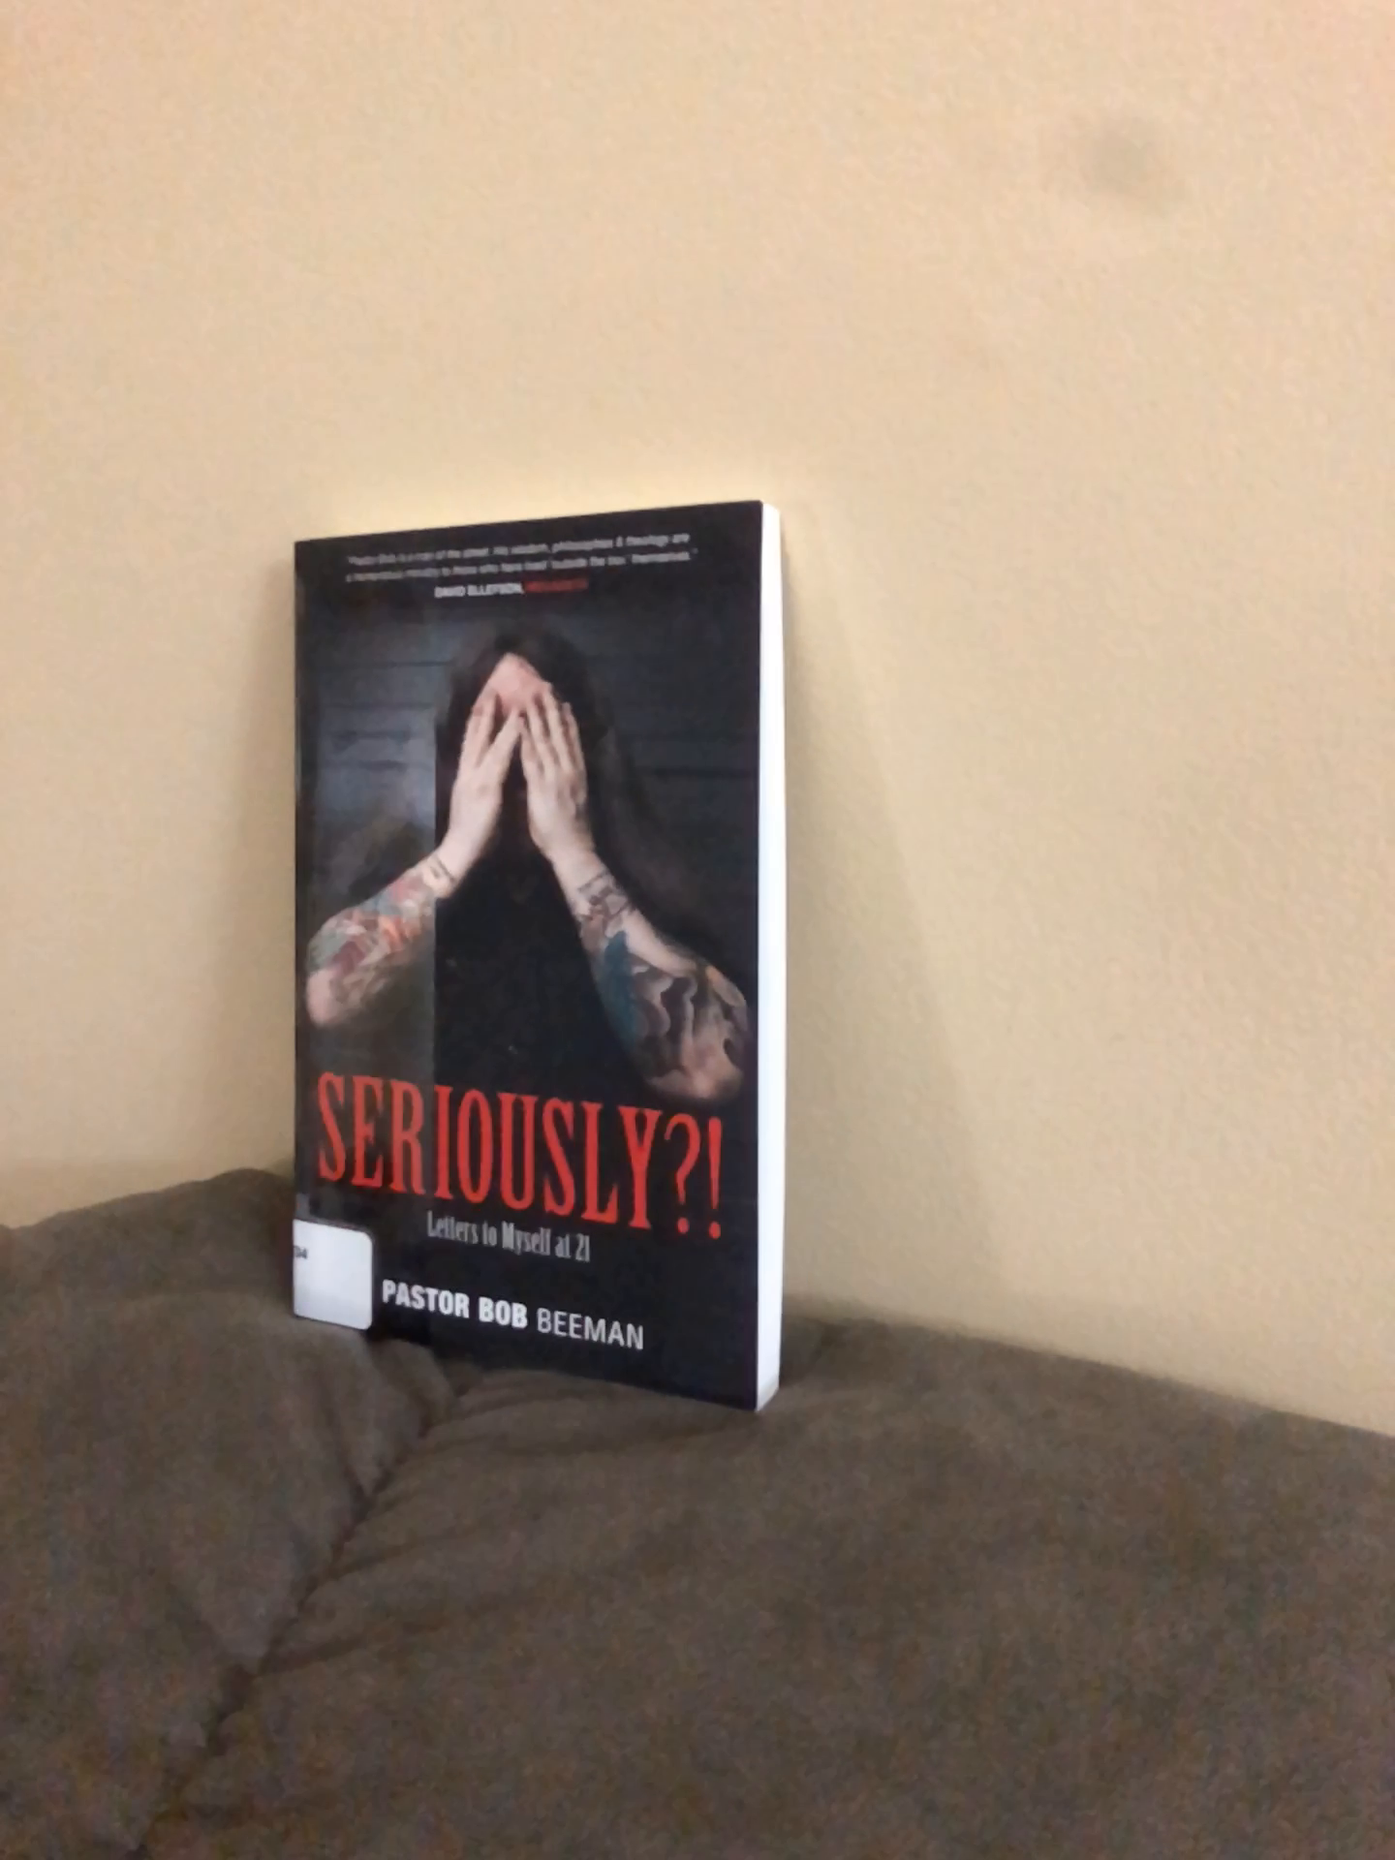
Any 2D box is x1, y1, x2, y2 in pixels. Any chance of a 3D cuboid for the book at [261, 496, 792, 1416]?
[{"bbox_3d":[-0.045,0.004,0.384,0.137,0.205,0.023,3,5,26],"label":"book"}]
